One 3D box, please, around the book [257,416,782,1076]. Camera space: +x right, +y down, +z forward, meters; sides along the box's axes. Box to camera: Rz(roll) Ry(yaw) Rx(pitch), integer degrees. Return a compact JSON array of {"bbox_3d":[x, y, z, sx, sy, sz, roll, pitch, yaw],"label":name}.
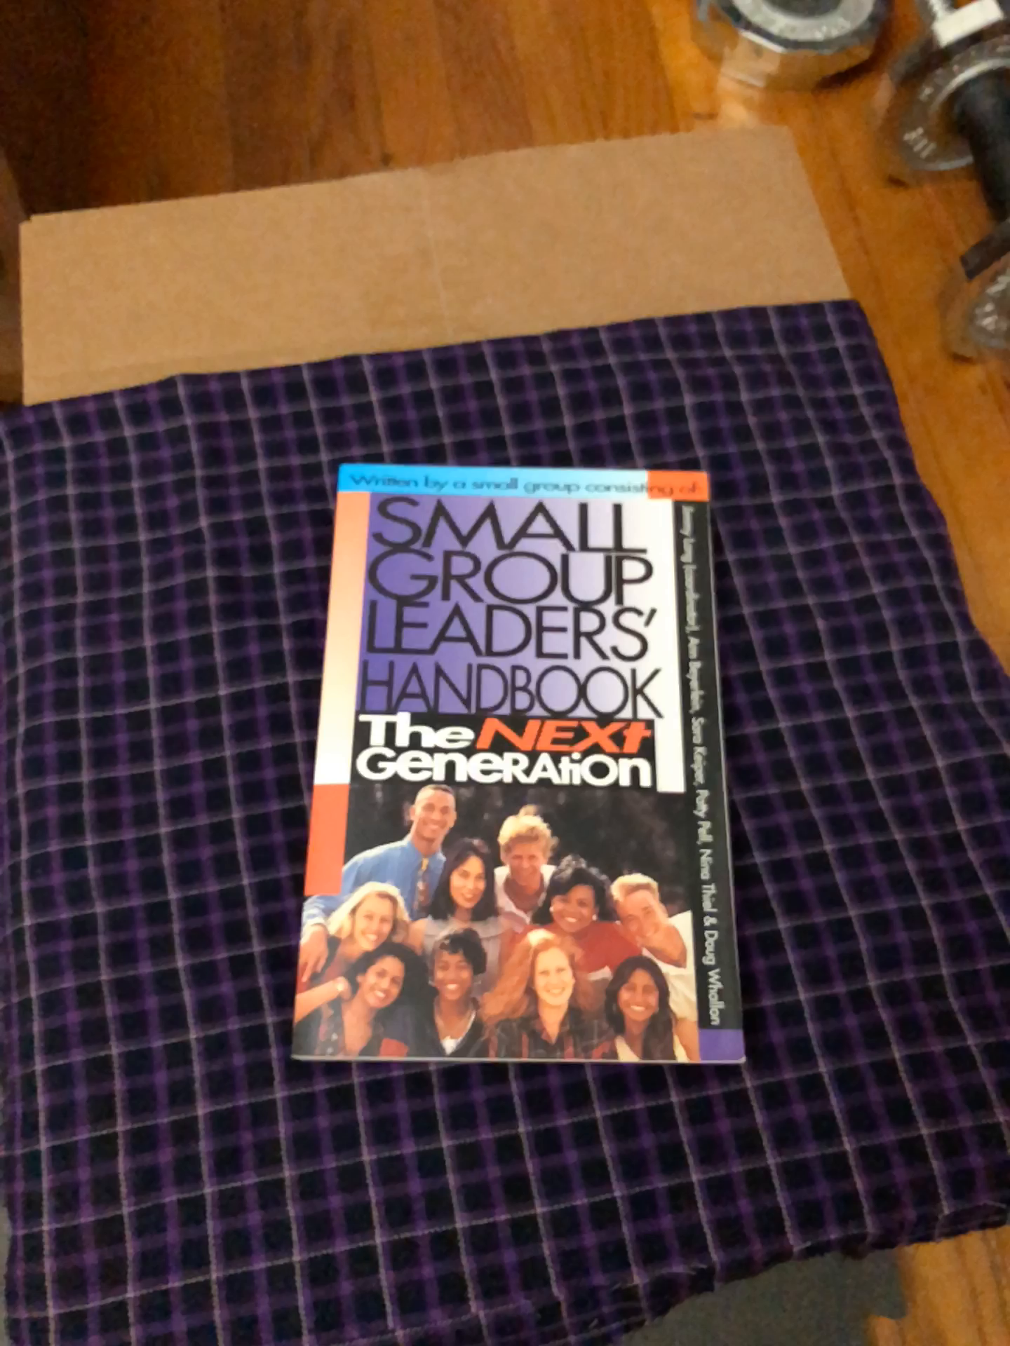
[{"bbox_3d":[0.005,0.017,0.375,0.150,0.030,0.221,1,68,-1],"label":"book"}]
